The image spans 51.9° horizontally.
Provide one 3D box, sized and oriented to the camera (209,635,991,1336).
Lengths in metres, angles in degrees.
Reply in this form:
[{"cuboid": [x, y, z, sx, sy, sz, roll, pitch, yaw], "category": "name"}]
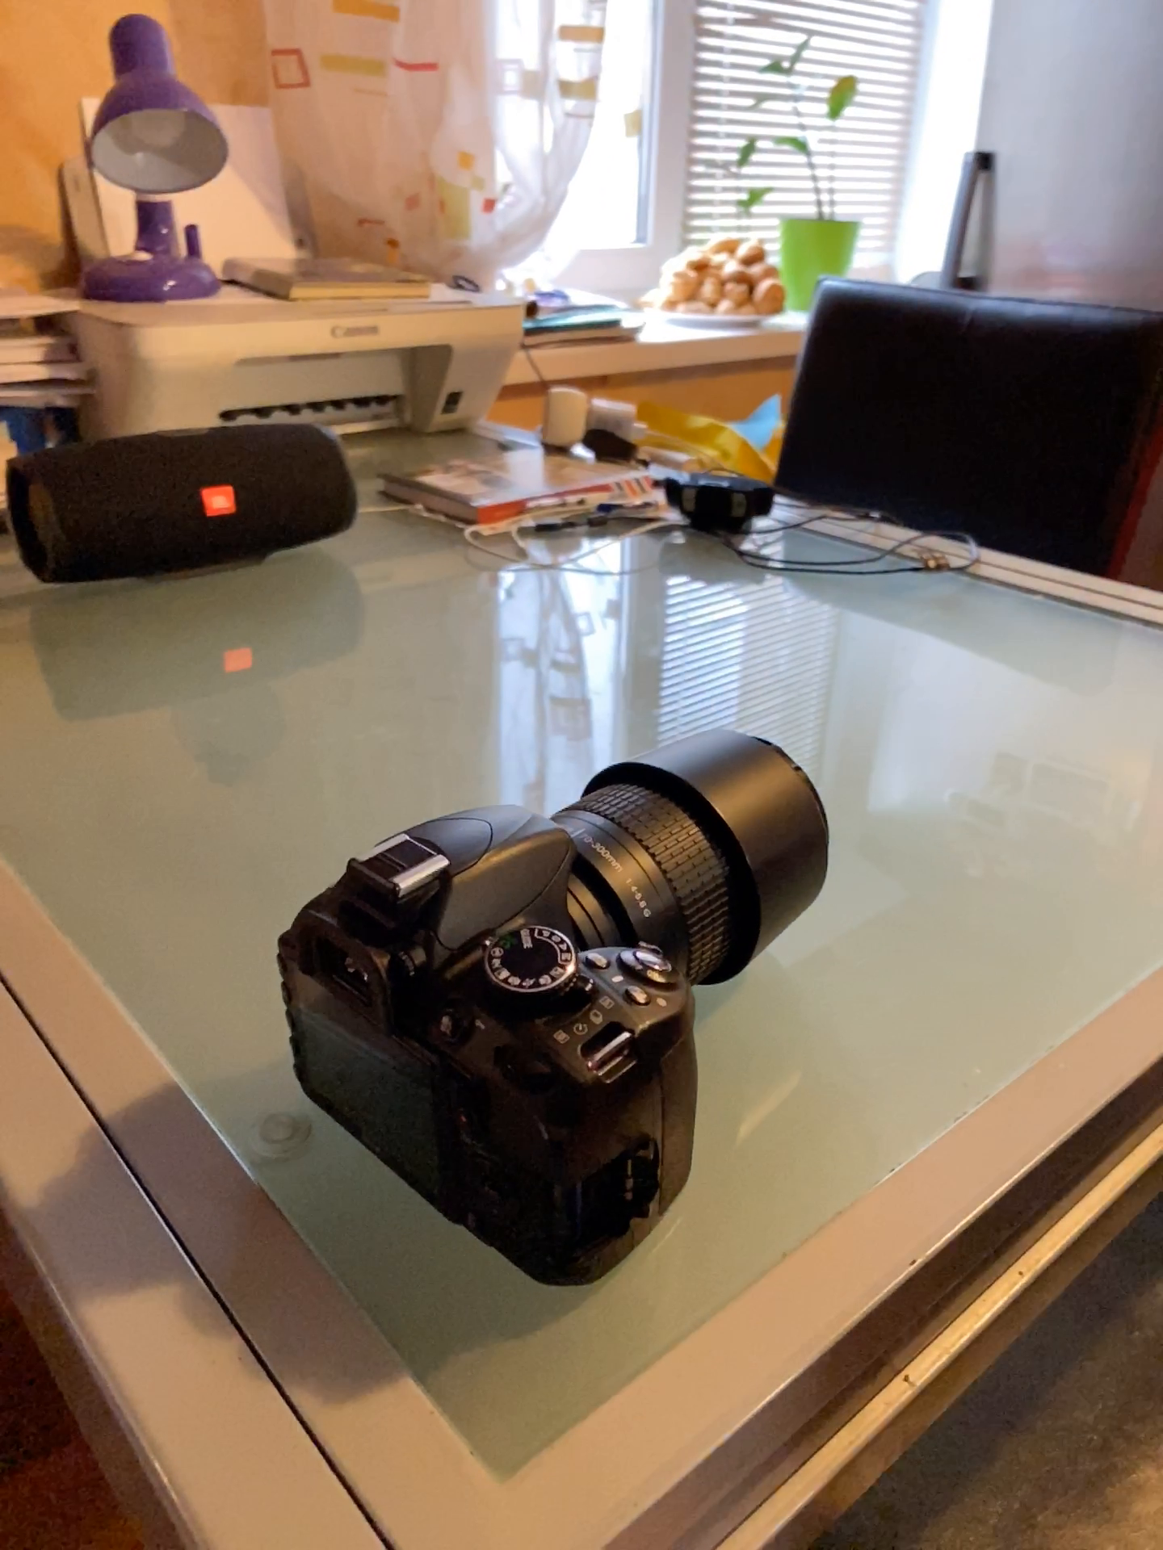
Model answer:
[{"cuboid": [0.013, 0.043, 0.389, 0.134, 0.099, 0.209, 24, 34, 38], "category": "camera"}]
